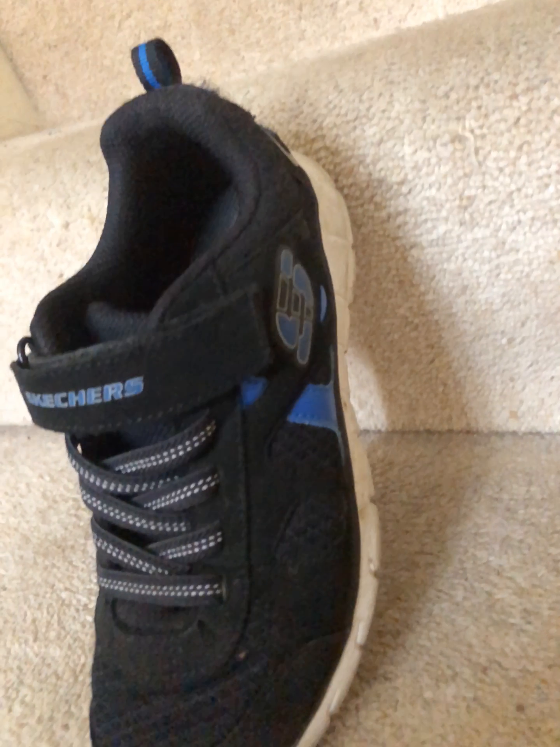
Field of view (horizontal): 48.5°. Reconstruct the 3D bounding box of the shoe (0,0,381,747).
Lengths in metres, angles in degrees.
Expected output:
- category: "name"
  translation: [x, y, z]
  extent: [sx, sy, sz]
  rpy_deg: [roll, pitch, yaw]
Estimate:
- category: "shoe"
  translation: [-0.033, 0.014, 0.199]
  extent: [0.090, 0.221, 0.100]
  rpy_deg: [-7, -13, 37]
